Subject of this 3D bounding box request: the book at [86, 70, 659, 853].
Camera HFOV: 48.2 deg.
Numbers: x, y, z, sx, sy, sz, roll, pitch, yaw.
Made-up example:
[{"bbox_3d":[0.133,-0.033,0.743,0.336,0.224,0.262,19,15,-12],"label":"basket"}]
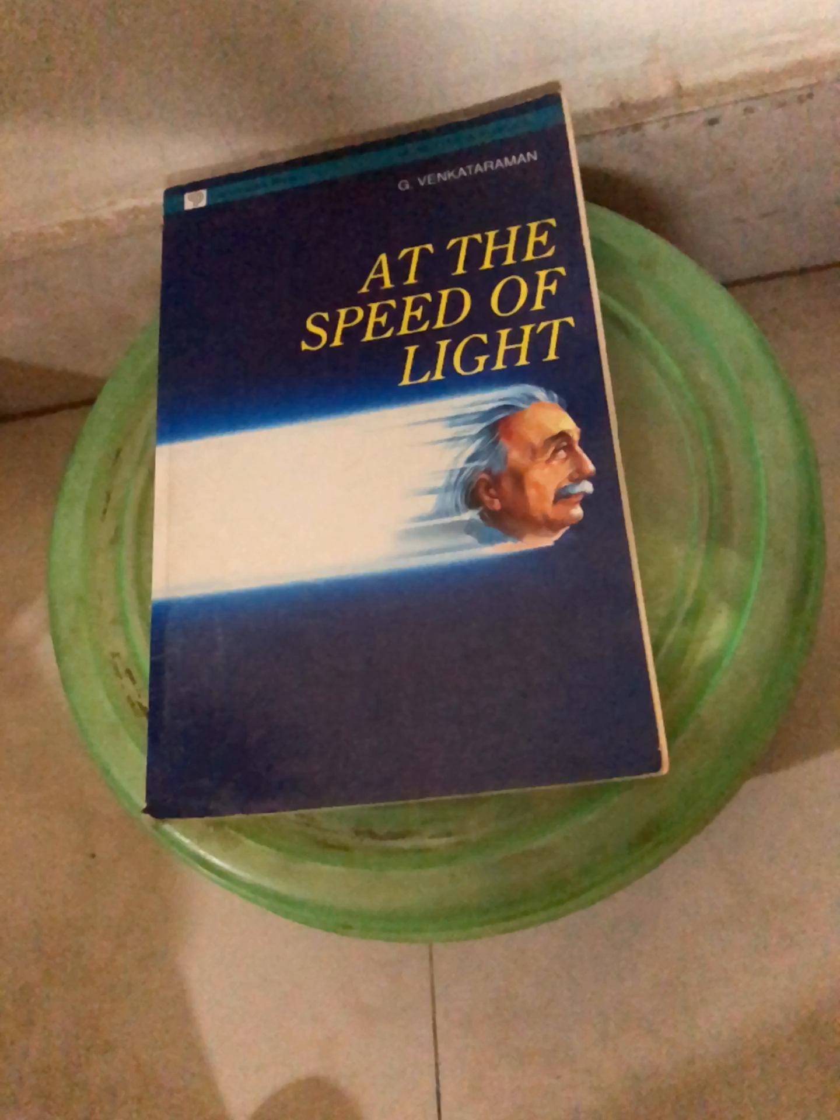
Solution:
[{"bbox_3d":[-0.023,-0.038,0.287,0.150,0.020,0.230,-9,68,11],"label":"book"}]
